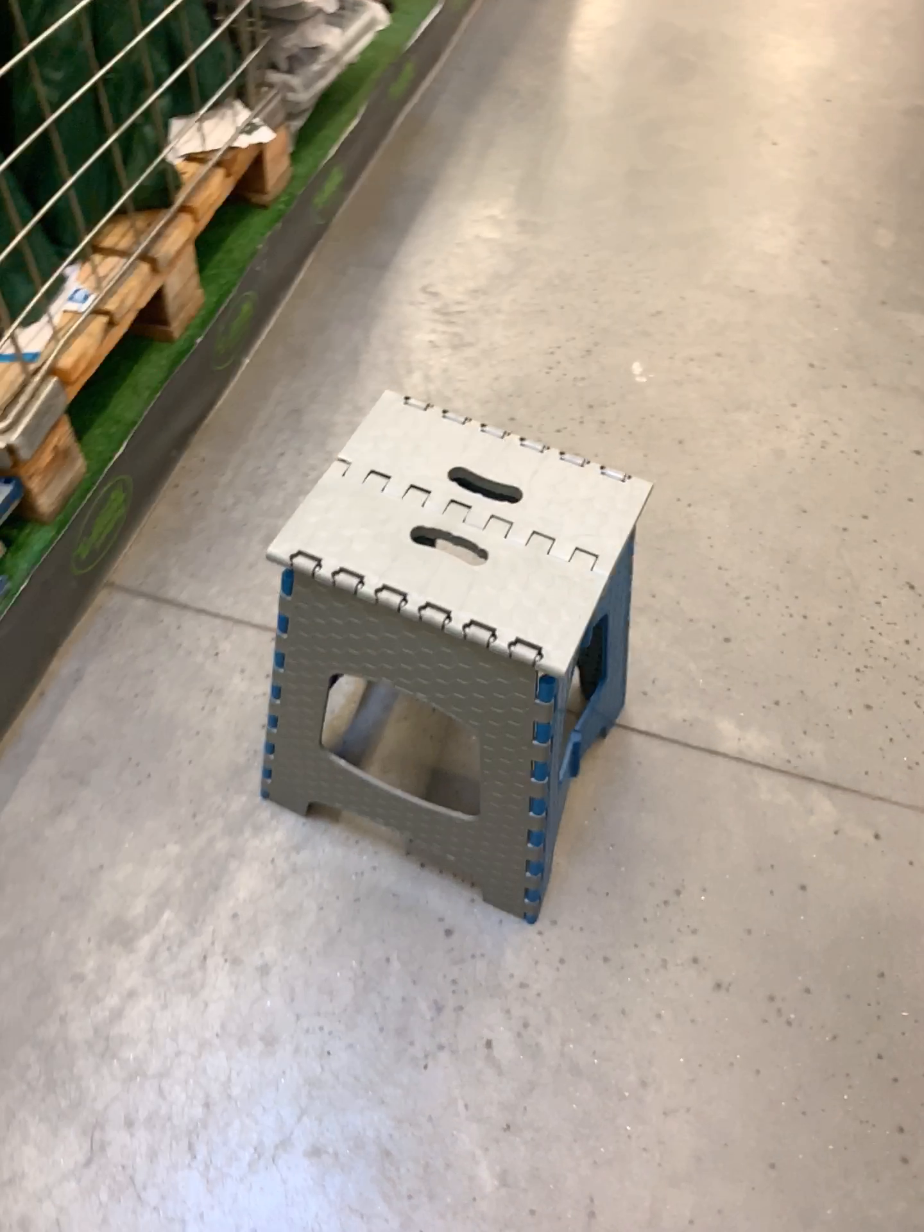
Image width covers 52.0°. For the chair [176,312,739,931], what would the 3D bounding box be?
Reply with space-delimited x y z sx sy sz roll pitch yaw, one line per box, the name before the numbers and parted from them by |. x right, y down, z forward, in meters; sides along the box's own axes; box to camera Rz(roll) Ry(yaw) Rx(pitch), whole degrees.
chair | 0.003 0.019 0.944 0.350 0.419 0.341 22 57 12
